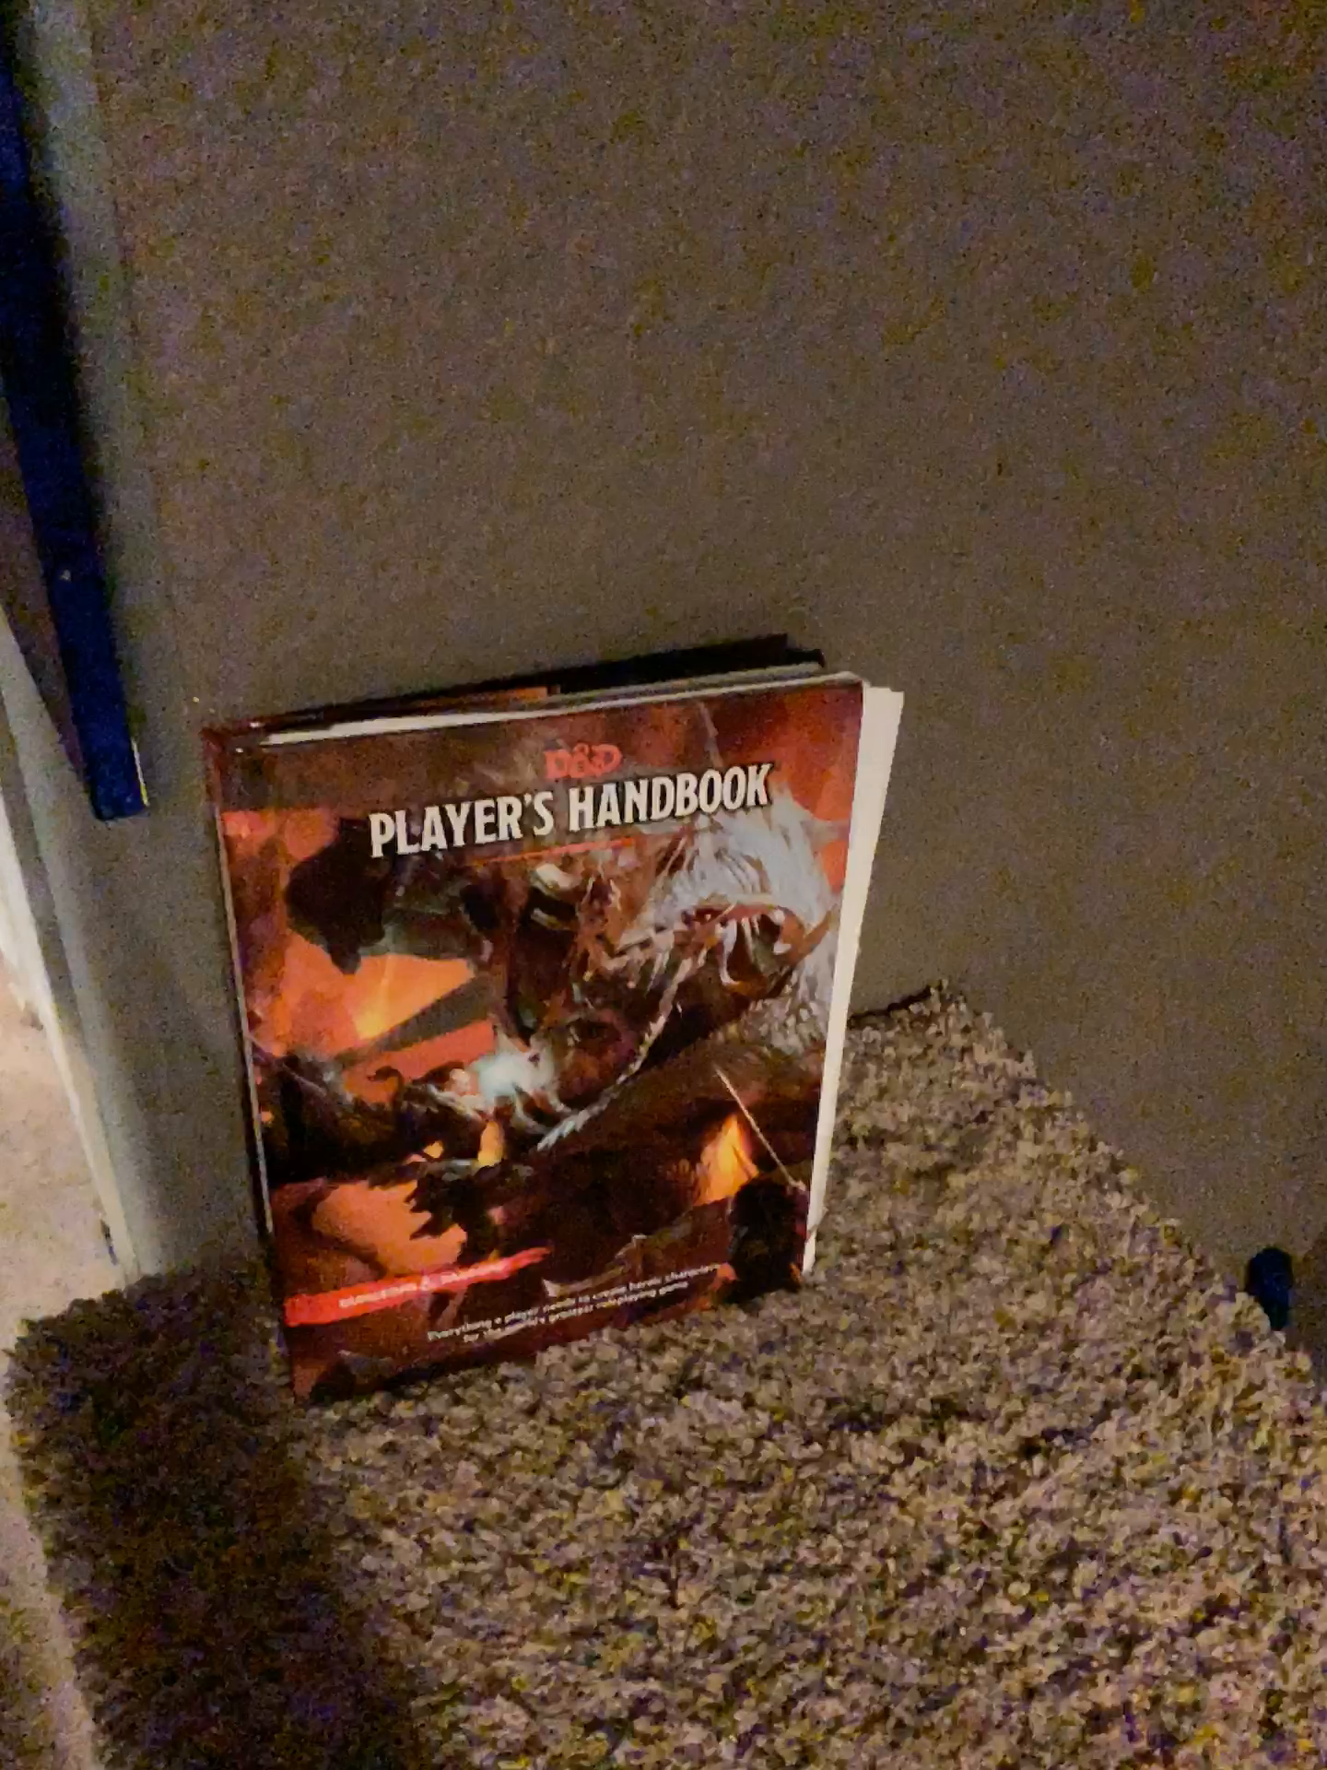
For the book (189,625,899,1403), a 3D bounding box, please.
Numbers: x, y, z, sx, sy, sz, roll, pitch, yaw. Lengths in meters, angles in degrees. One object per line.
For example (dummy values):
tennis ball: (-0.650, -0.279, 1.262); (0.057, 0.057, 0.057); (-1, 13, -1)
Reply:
book: (-0.041, 0.056, 0.561); (0.230, 0.290, 0.040); (-9, 34, -19)
